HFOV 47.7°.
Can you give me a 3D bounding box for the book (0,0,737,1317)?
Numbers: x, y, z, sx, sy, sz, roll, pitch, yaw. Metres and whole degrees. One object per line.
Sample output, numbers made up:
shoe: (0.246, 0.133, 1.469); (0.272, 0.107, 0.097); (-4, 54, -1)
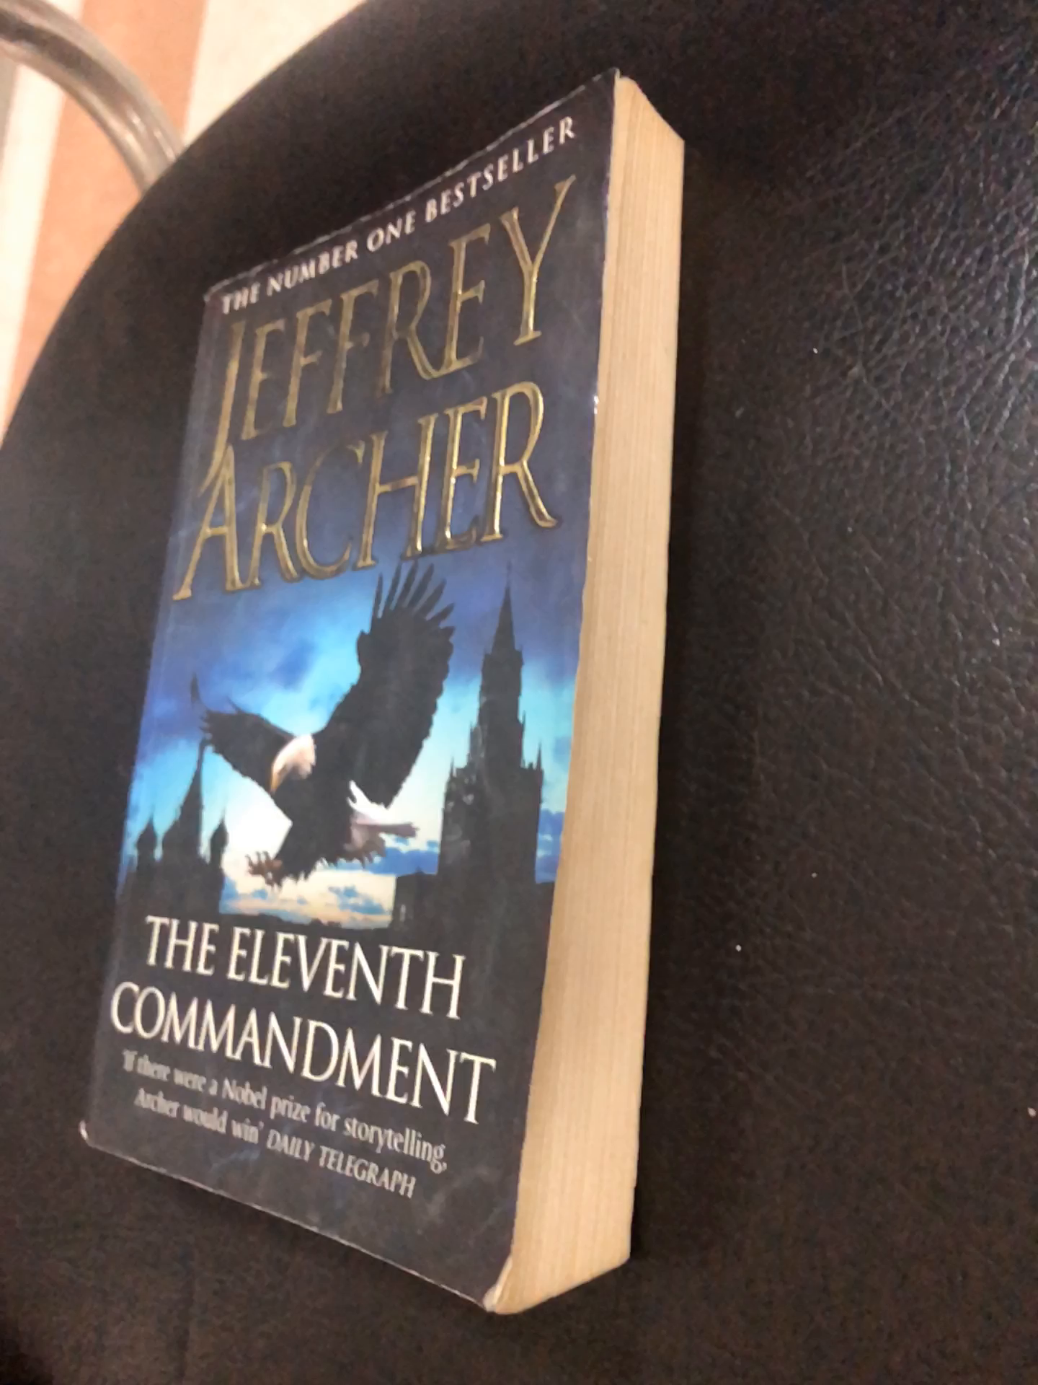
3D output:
book: (-0.032, -0.012, 0.222); (0.131, 0.040, 0.200); (-3, 77, 40)
